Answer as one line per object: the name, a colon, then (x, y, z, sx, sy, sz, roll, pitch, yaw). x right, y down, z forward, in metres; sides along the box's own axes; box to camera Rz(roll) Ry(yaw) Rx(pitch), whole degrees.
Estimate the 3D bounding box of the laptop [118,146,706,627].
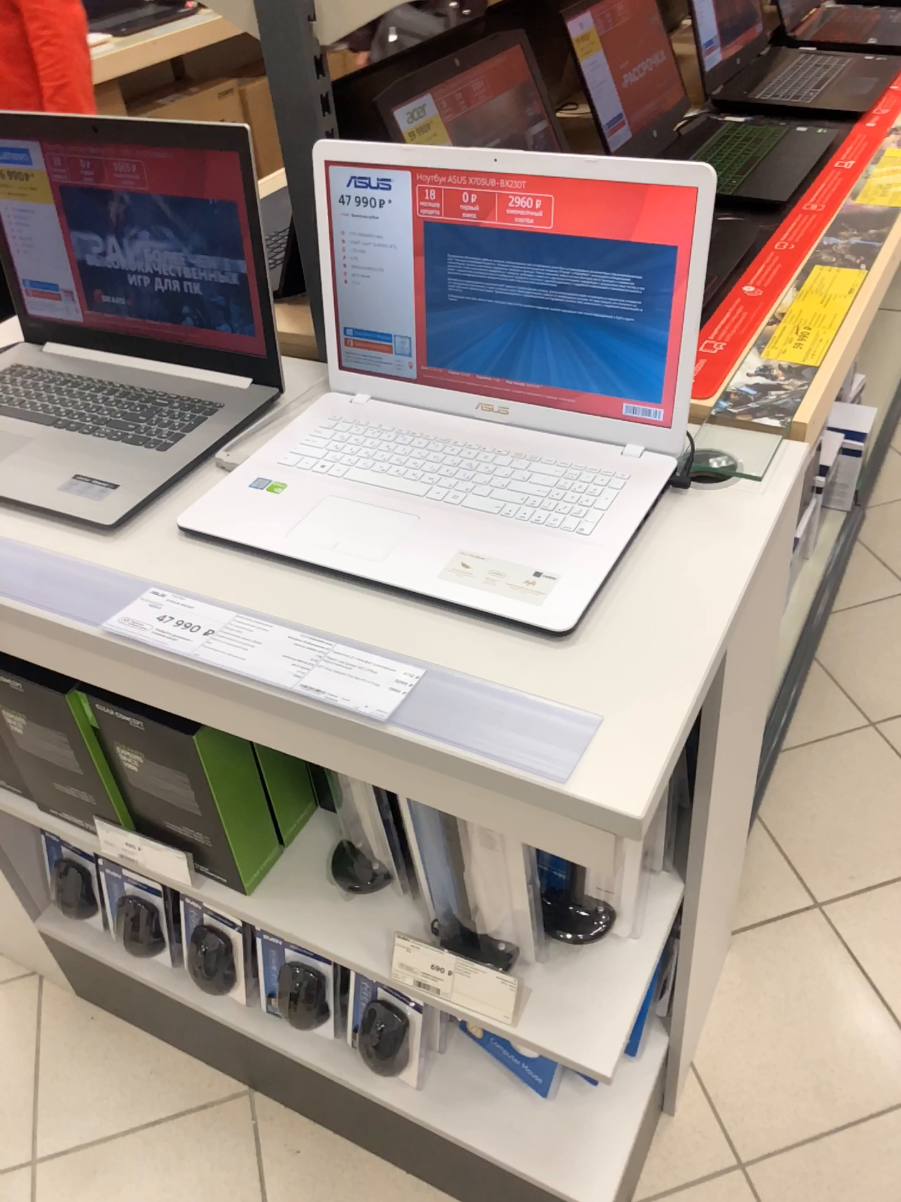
laptop: (-0.017, -0.213, 0.858, 0.386, 0.235, 0.301, 14, 45, 25)
